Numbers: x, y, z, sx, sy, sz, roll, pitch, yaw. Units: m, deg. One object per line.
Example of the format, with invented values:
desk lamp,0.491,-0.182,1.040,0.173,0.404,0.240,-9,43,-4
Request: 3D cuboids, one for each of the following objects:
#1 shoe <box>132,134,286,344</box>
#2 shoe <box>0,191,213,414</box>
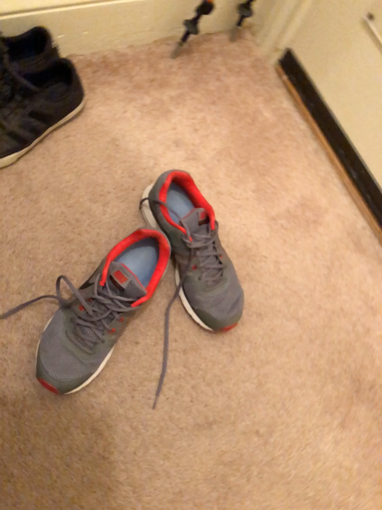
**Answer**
shoe,0.017,-0.026,0.685,0.113,0.120,0.297,-18,76,-21
shoe,-0.111,0.066,0.616,0.113,0.120,0.298,39,65,0
